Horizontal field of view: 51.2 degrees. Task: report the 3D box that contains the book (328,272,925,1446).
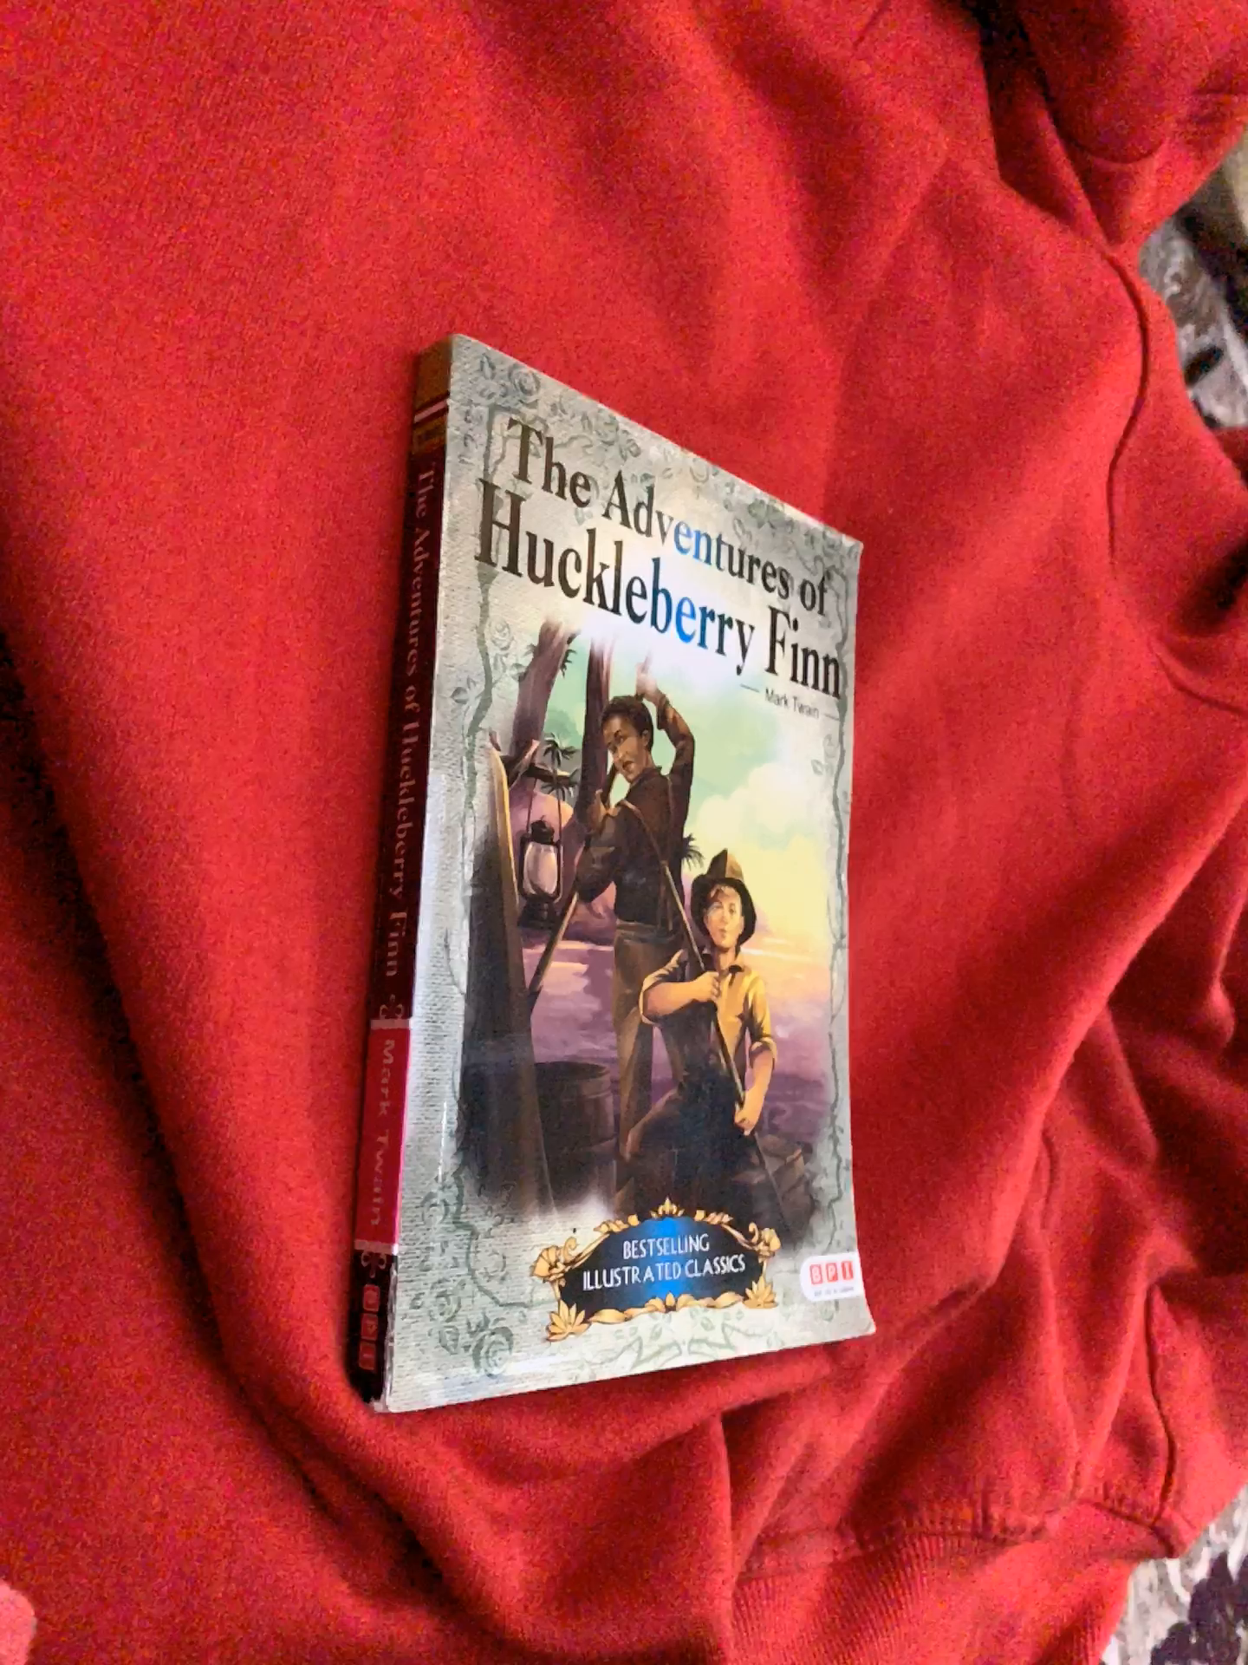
[{"bbox_3d":[0.011,0.007,0.249,0.131,0.020,0.180,13,74,-44],"label":"book"}]
